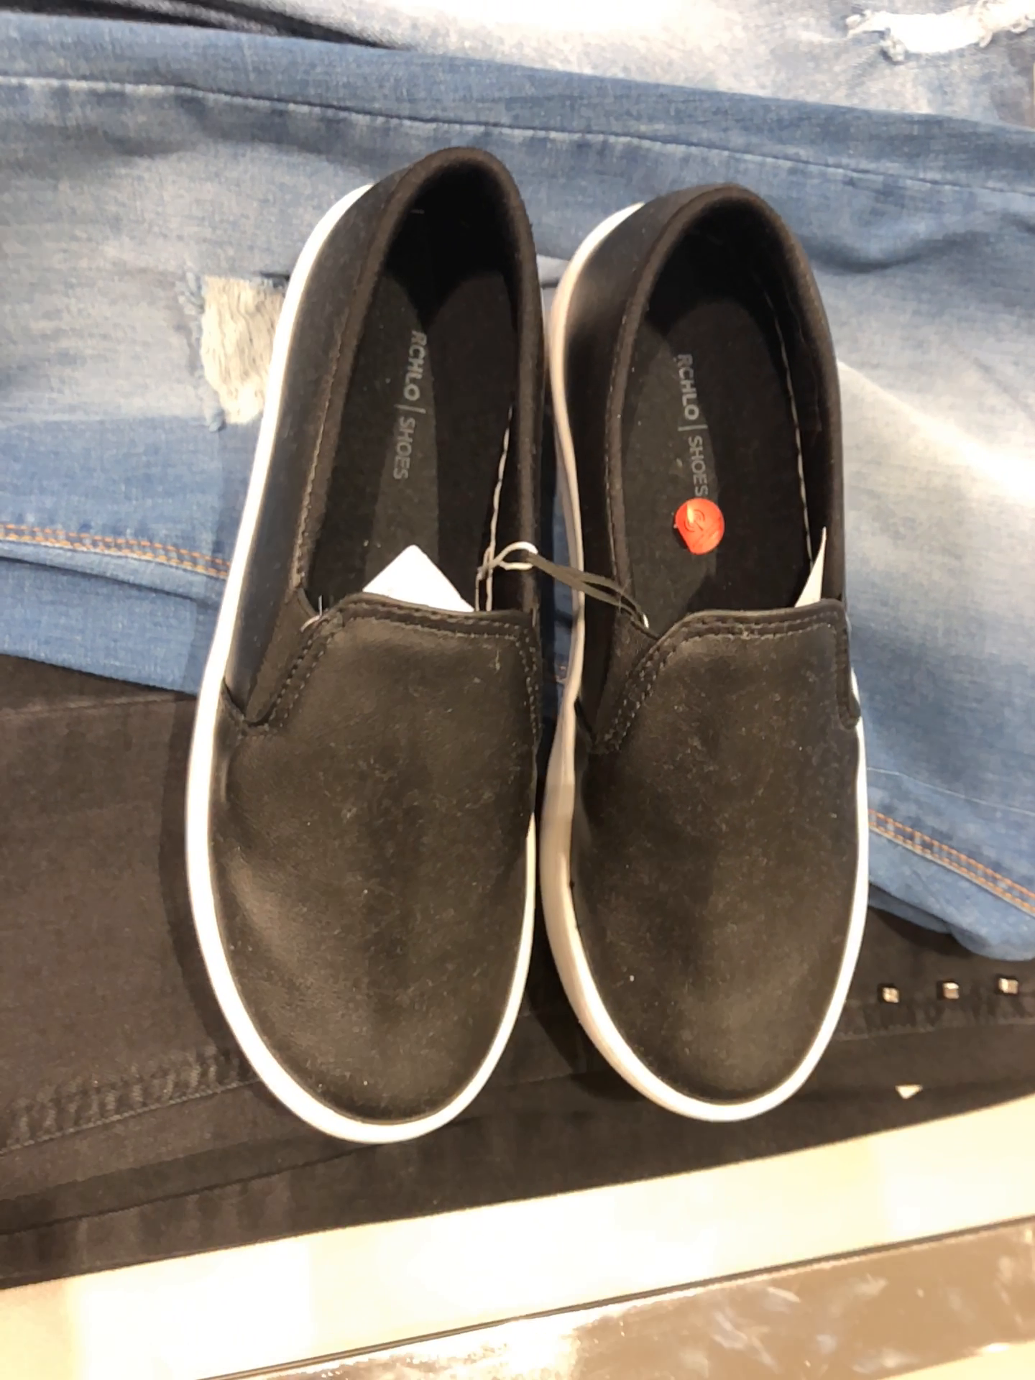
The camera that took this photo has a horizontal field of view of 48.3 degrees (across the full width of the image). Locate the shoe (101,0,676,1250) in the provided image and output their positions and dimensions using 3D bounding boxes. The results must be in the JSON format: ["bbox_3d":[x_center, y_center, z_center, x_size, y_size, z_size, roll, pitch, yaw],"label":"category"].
[{"bbox_3d":[-0.036,-0.011,0.301,0.110,0.100,0.260,4,90,-13],"label":"shoe"}]

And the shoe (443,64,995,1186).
[{"bbox_3d":[0.051,-0.018,0.330,0.110,0.100,0.260,-4,92,-15],"label":"shoe"}]
